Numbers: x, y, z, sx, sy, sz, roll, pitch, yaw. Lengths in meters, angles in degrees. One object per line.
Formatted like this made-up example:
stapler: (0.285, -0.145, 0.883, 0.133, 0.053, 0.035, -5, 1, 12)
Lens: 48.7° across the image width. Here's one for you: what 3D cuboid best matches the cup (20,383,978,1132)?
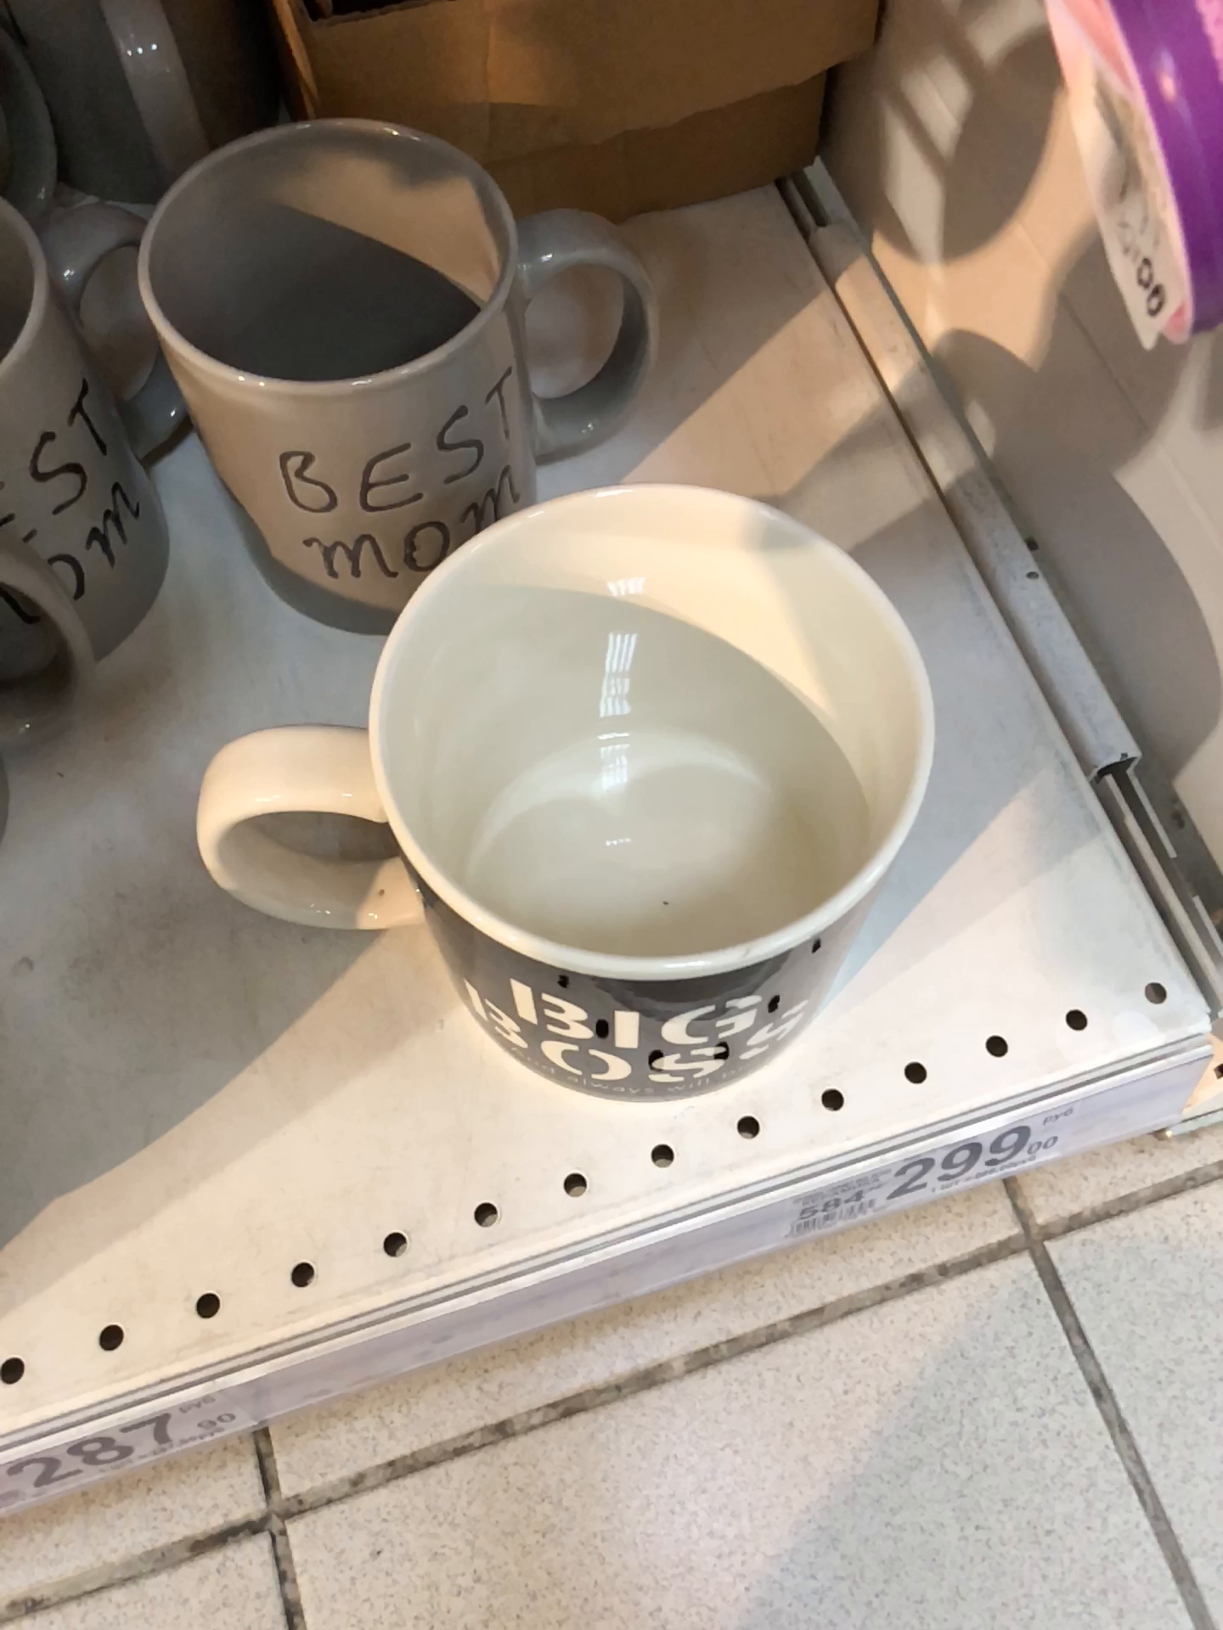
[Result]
cup: (-0.017, -0.009, 0.351, 0.188, 0.122, 0.128, 8, 65, 4)
